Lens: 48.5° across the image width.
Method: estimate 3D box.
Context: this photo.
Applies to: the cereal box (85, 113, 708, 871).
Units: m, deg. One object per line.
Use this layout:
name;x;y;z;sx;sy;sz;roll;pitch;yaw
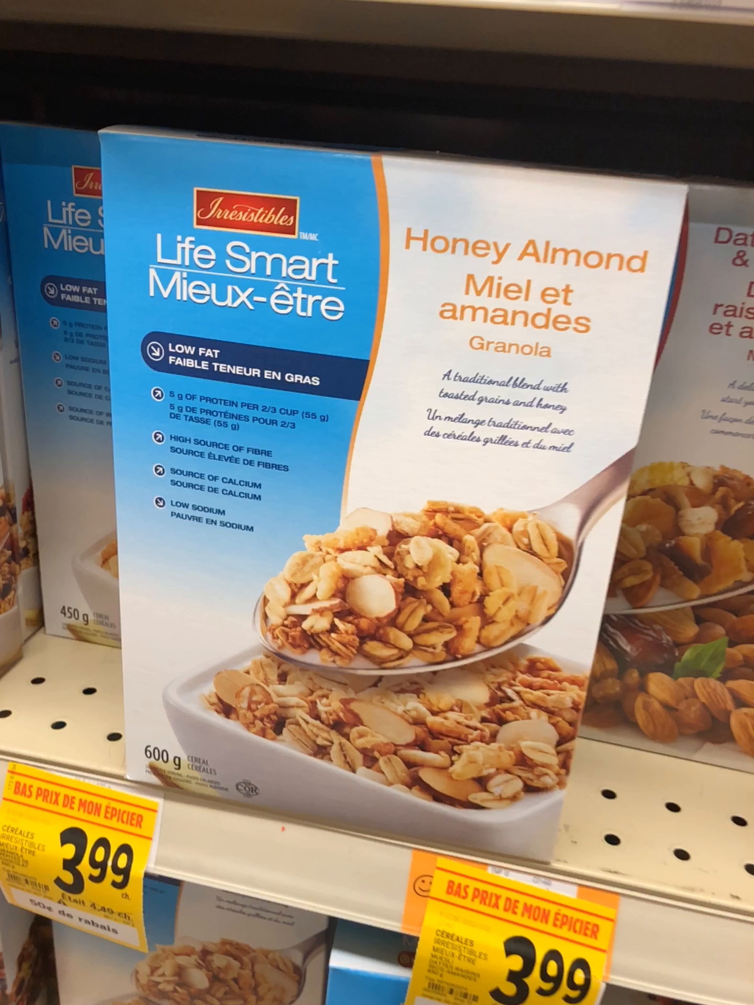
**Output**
cereal box;-0.003;0.000;0.298;0.170;0.238;0.060;9;23;9
